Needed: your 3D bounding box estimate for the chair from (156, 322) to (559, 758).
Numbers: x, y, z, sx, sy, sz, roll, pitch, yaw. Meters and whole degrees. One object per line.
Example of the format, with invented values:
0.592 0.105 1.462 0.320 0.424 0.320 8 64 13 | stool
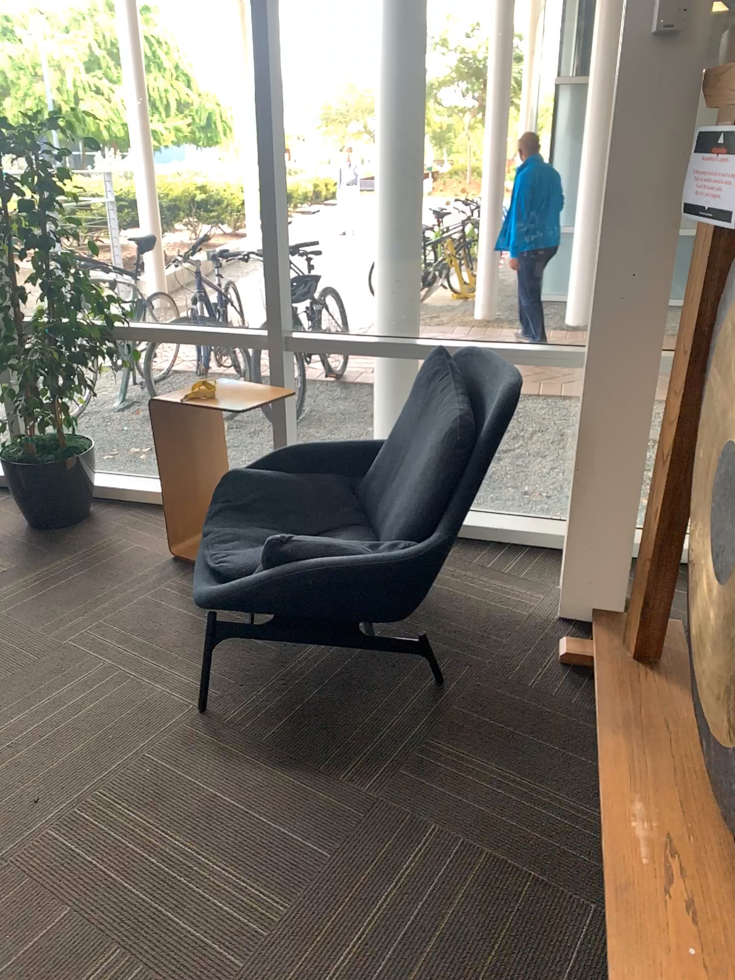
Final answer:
-0.067 0.075 2.340 0.940 0.995 0.905 -3 23 -7 | chair
